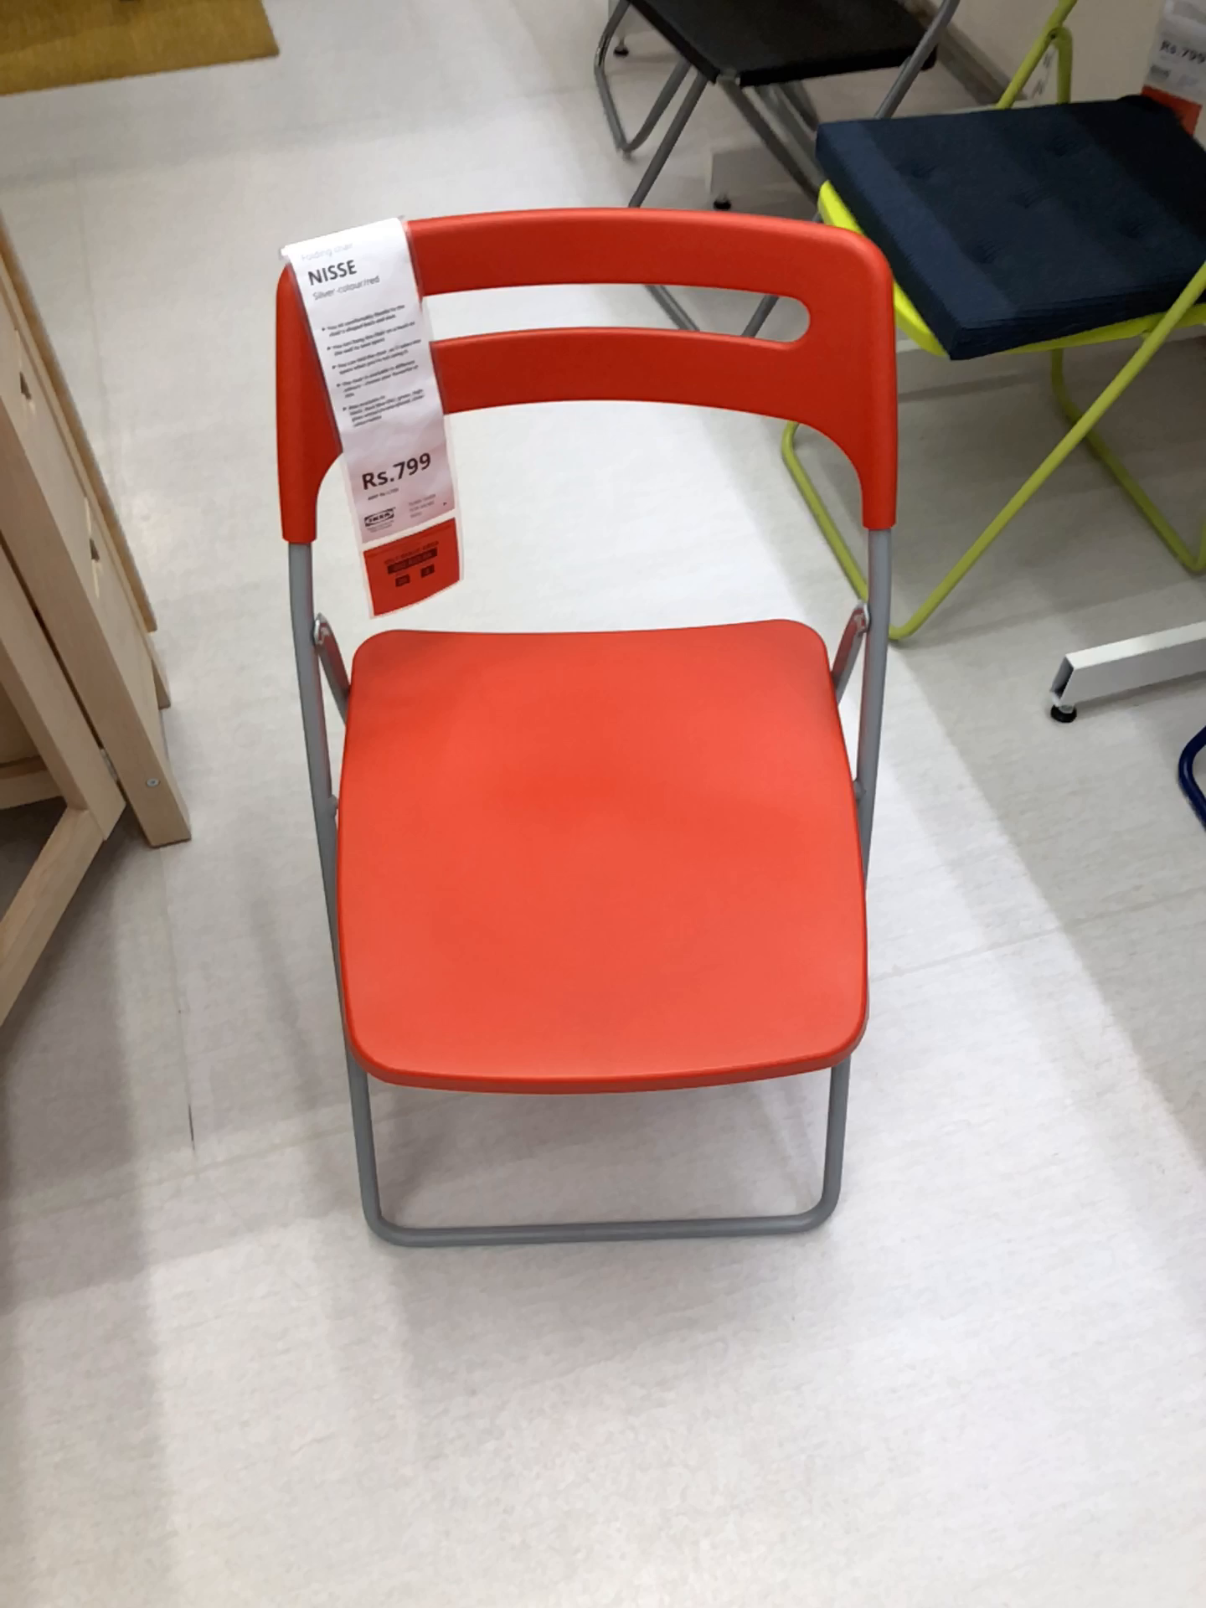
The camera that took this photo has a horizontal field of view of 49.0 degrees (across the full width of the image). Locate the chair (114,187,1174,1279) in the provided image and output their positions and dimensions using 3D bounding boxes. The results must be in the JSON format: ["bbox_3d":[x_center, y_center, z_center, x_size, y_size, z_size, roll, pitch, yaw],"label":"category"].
[{"bbox_3d":[0.006,-0.015,0.950,0.450,0.607,0.492,-2,53,-2],"label":"chair"}]
